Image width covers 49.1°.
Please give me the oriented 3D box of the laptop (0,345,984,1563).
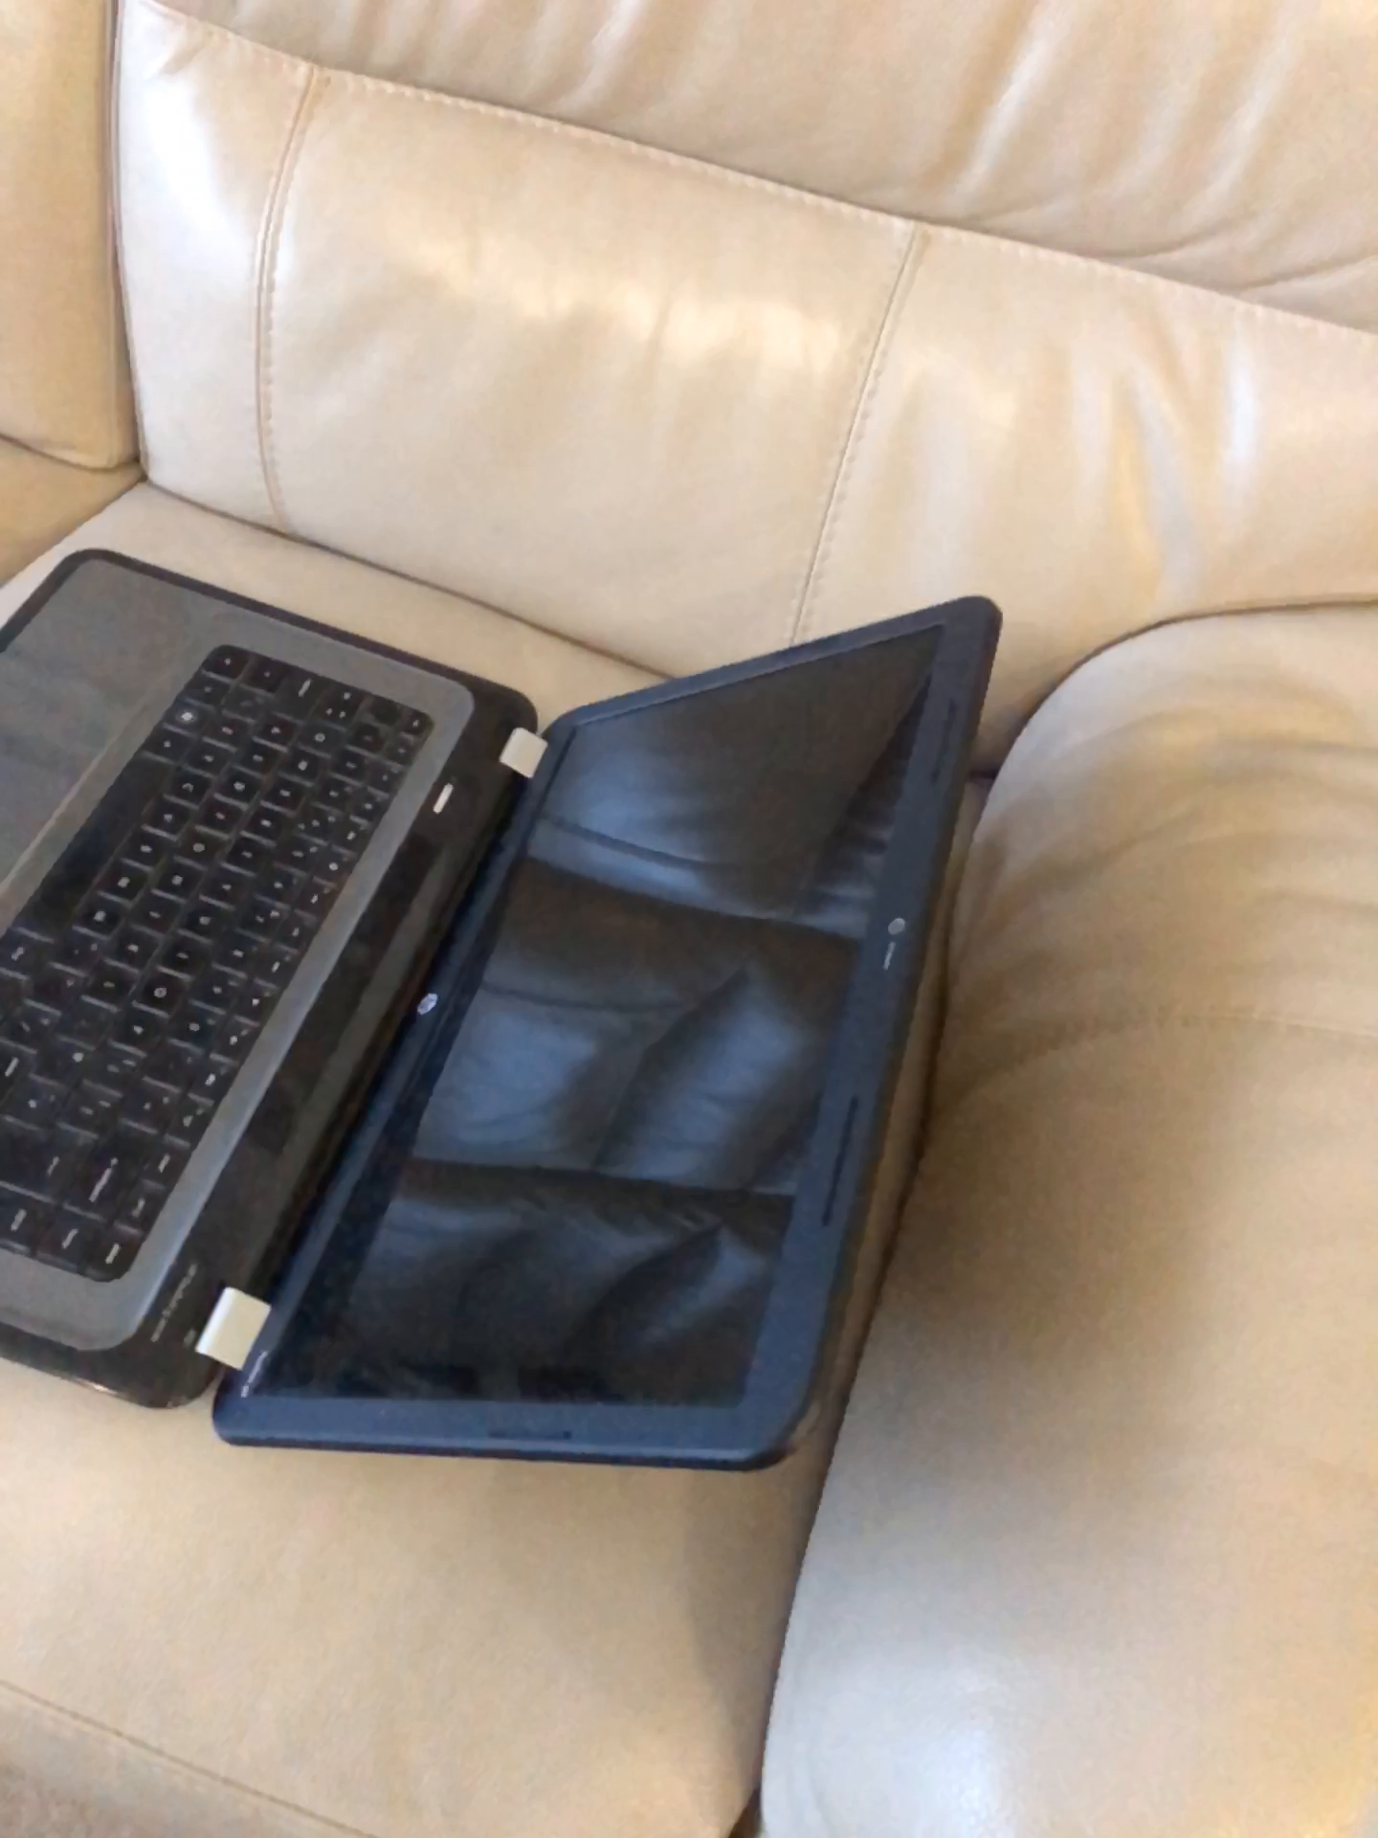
[{"bbox_3d":[-0.136,-0.015,0.572,0.424,0.115,0.359,16,55,4],"label":"laptop"}]
